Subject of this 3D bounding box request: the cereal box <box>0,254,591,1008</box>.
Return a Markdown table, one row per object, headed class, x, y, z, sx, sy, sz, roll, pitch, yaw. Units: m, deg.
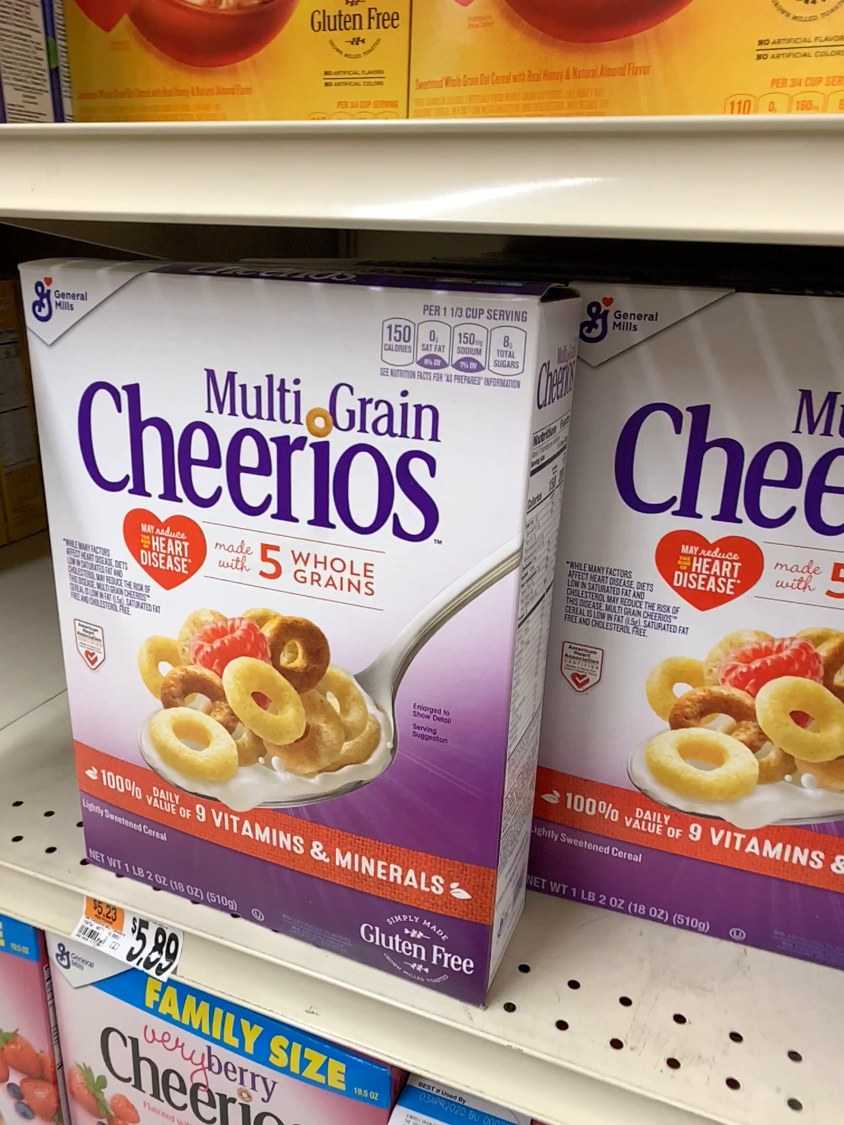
| class | x | y | z | sx | sy | sz | roll | pitch | yaw |
| --- | --- | --- | --- | --- | --- | --- | --- | --- | --- |
| cereal box | -0.065 | 0.024 | 0.421 | 0.250 | 0.319 | 0.070 | 10 | 20 | 21 |
